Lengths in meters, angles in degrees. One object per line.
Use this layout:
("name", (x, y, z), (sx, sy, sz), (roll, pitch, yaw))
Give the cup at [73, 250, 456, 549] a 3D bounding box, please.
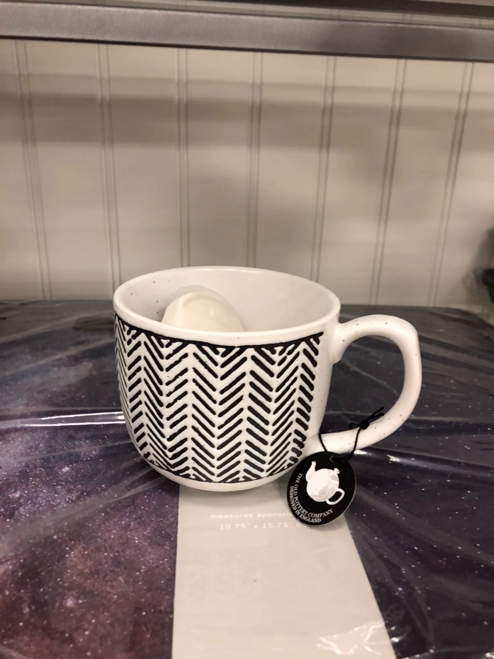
("cup", (0.011, 0.020, 0.250), (0.140, 0.079, 0.091), (8, 23, 14))
